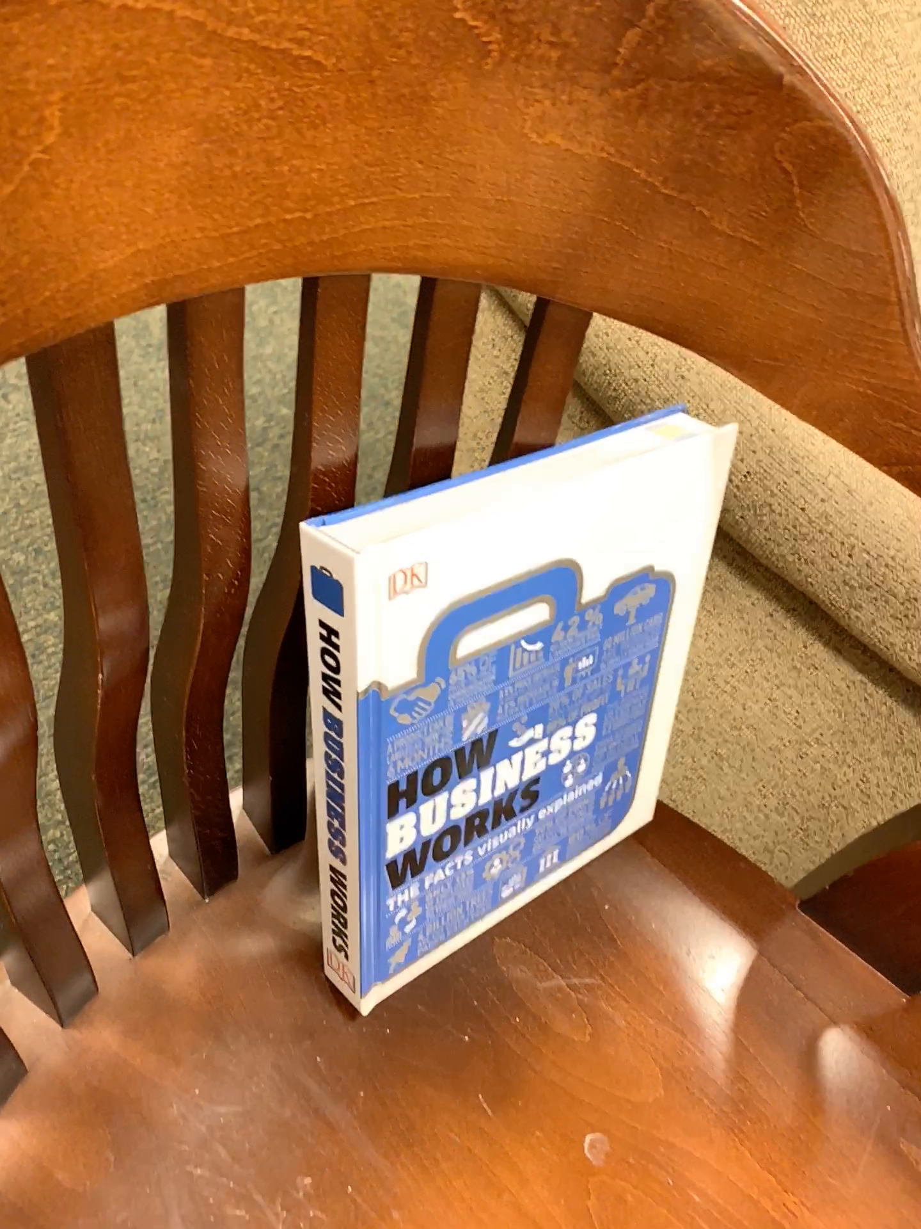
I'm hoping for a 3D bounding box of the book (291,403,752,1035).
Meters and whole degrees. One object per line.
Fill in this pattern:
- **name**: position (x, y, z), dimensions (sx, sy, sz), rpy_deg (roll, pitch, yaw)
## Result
- **book**: position (0.027, 0.046, 0.436), dimensions (0.212, 0.246, 0.039), rpy_deg (-22, 42, -35)
